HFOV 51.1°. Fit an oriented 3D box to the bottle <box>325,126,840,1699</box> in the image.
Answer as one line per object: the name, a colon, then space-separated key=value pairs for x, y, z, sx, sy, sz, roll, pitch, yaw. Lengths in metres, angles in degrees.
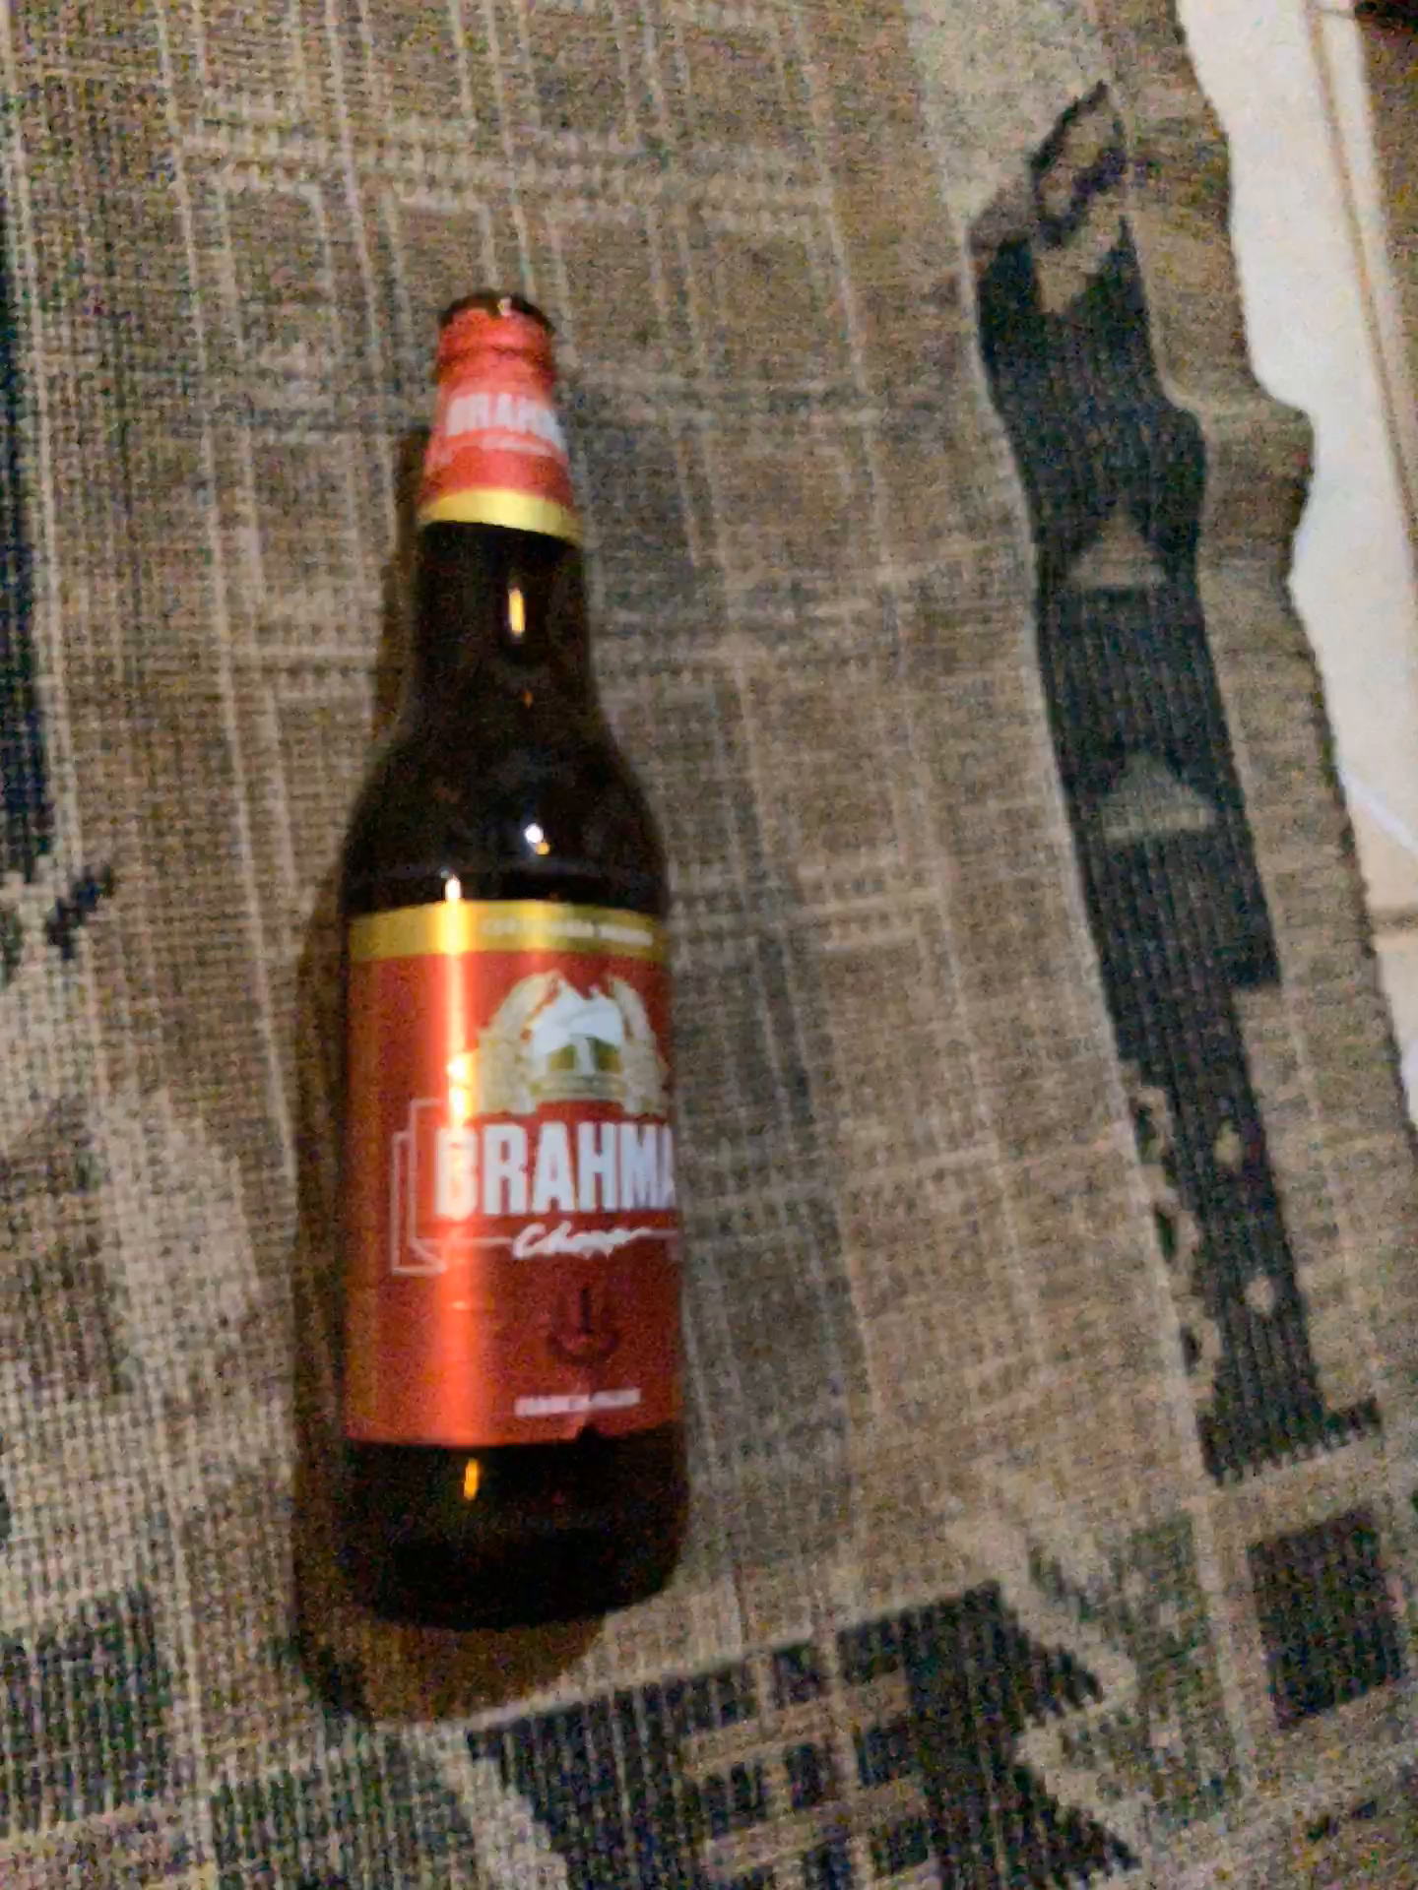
bottle: x=-0.032 y=-0.012 z=0.301 sx=0.080 sy=0.060 sz=0.280 roll=2 pitch=78 yaw=-24
